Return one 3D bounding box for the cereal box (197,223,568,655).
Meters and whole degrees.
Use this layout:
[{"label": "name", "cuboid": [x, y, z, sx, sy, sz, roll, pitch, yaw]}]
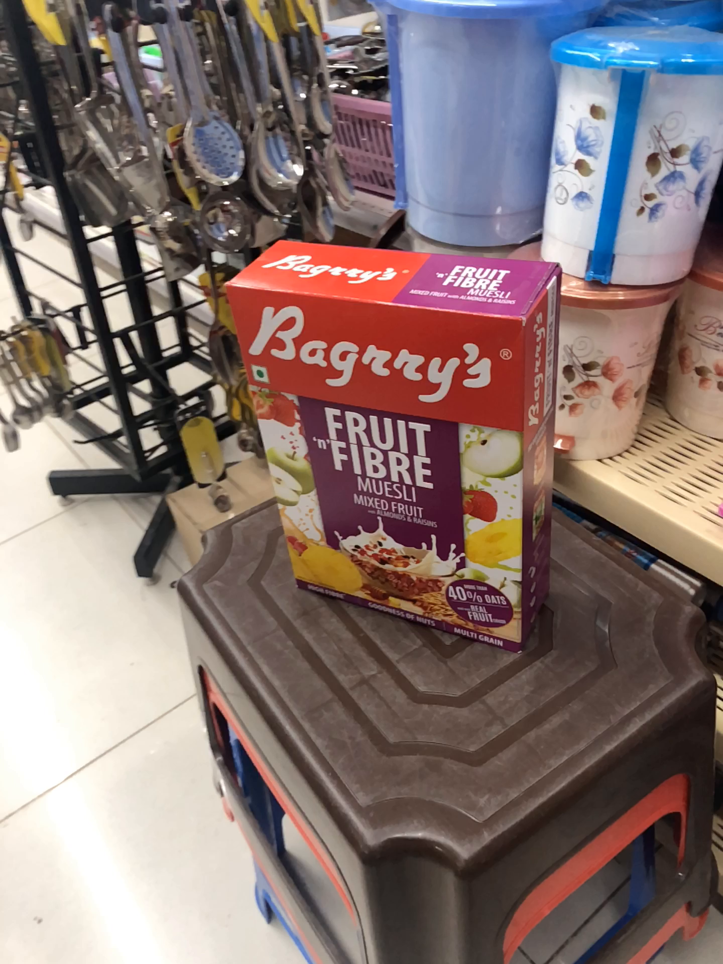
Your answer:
[{"label": "cereal box", "cuboid": [0.023, -0.025, 0.530, 0.200, 0.259, 0.070, 13, 42, 25]}]
